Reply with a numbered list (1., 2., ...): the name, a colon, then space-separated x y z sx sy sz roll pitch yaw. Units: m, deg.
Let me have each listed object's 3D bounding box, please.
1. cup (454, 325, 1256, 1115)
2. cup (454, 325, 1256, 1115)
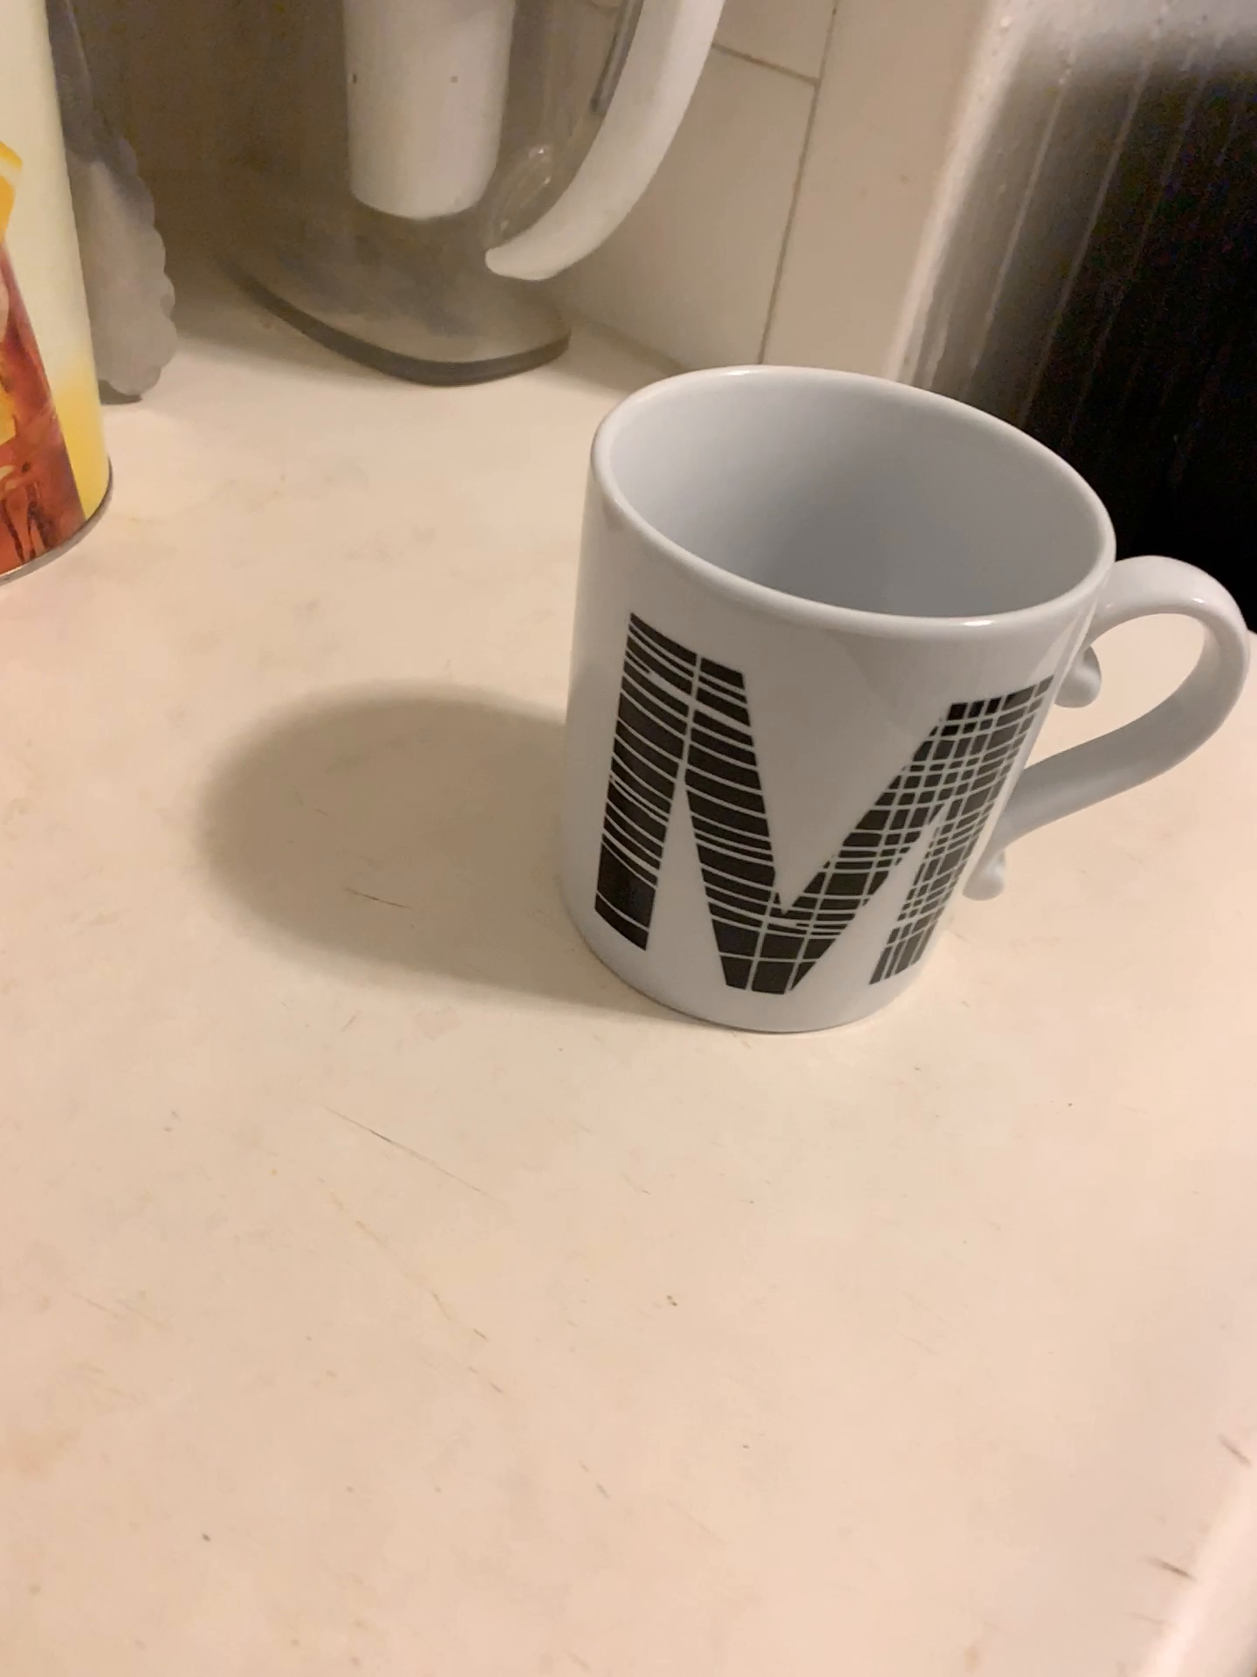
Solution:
1. cup: 0.036 -0.022 0.263 0.130 0.109 0.101 5 42 -7
2. cup: 0.036 -0.022 0.263 0.130 0.109 0.101 5 42 -7
